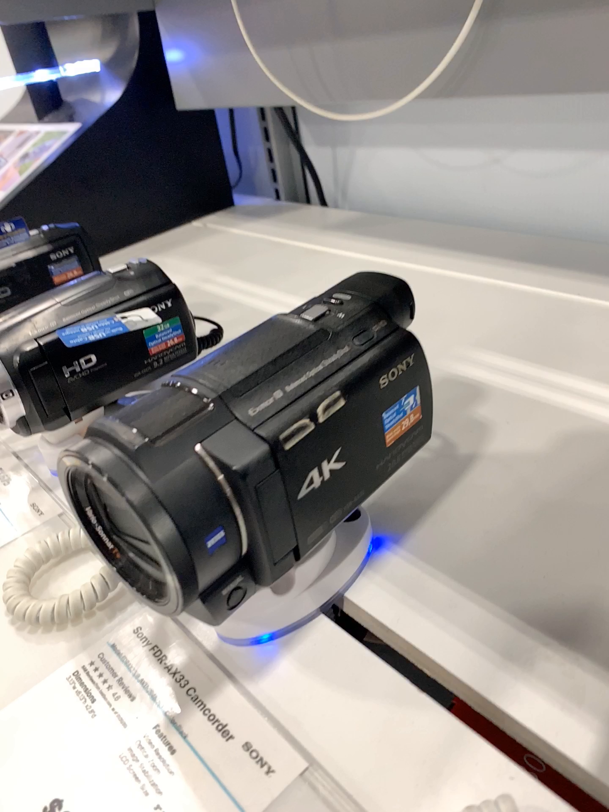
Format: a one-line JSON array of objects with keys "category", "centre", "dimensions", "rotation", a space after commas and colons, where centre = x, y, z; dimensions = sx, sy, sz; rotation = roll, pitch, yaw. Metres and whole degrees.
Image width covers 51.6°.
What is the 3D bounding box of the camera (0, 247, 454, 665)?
[{"category": "camera", "centre": [-0.026, 0.001, 0.239], "dimensions": [0.103, 0.067, 0.136], "rotation": [21, 44, 40]}]
